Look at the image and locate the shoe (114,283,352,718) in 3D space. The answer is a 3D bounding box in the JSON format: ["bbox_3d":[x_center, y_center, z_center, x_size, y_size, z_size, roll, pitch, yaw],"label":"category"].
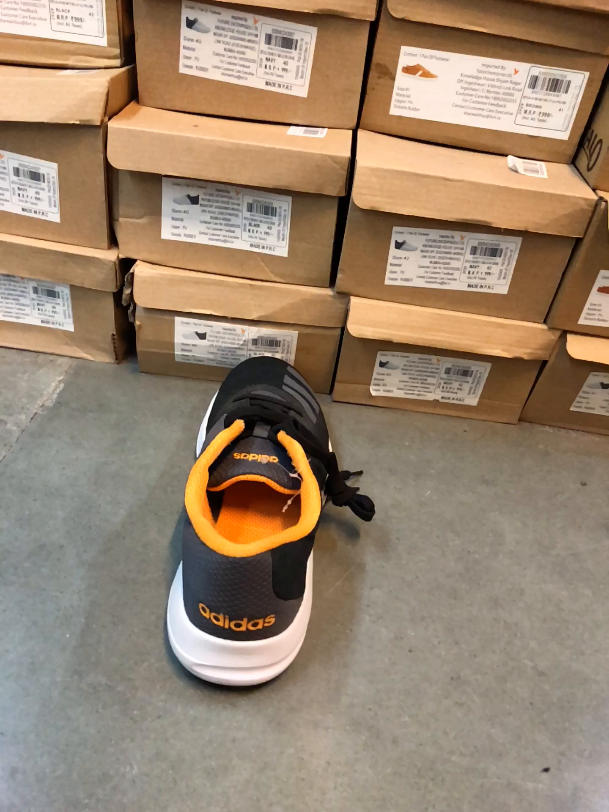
[{"bbox_3d":[-0.034,0.041,0.450,0.110,0.116,0.272,8,38,-3],"label":"shoe"}]
